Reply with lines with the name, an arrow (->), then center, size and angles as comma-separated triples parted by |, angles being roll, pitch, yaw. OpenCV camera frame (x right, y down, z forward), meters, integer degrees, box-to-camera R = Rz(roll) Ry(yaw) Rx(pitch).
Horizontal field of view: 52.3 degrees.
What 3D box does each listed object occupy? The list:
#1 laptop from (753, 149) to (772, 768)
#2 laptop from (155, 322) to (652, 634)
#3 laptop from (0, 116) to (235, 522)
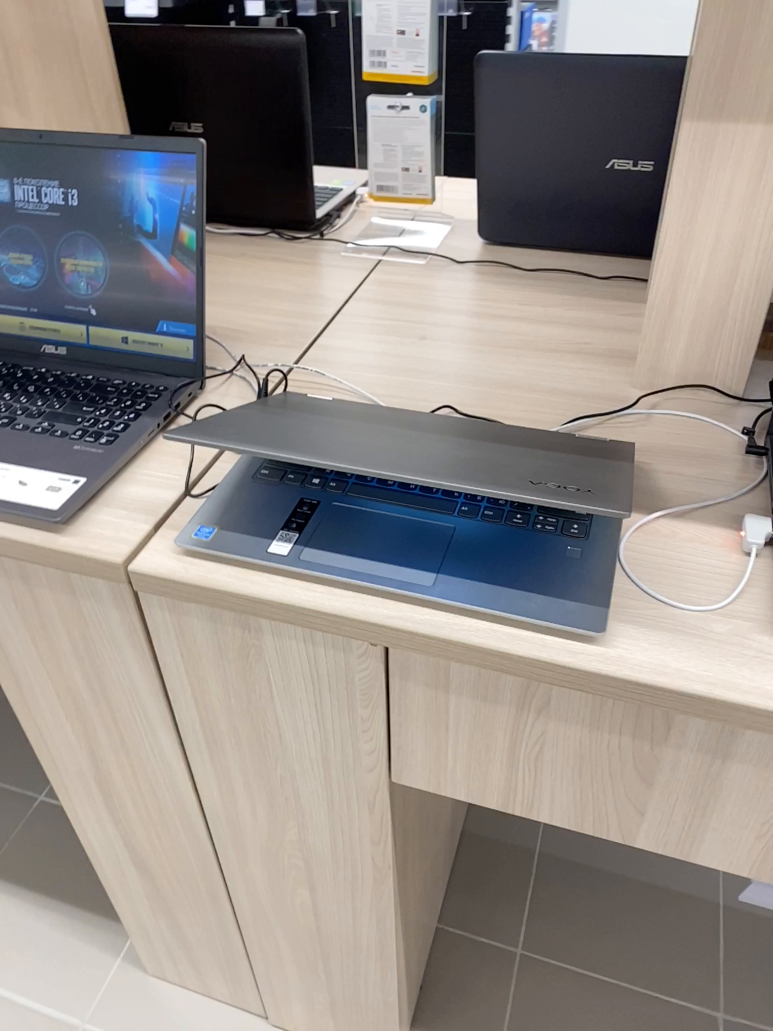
laptop -> 0.495, -0.074, 0.524 | 0.389, 0.215, 0.304 | 9, 40, 13
laptop -> 0.025, -0.049, 0.622 | 0.325, 0.082, 0.219 | 11, 41, 16
laptop -> -0.382, -0.203, 0.717 | 0.352, 0.212, 0.309 | 11, 40, 15
